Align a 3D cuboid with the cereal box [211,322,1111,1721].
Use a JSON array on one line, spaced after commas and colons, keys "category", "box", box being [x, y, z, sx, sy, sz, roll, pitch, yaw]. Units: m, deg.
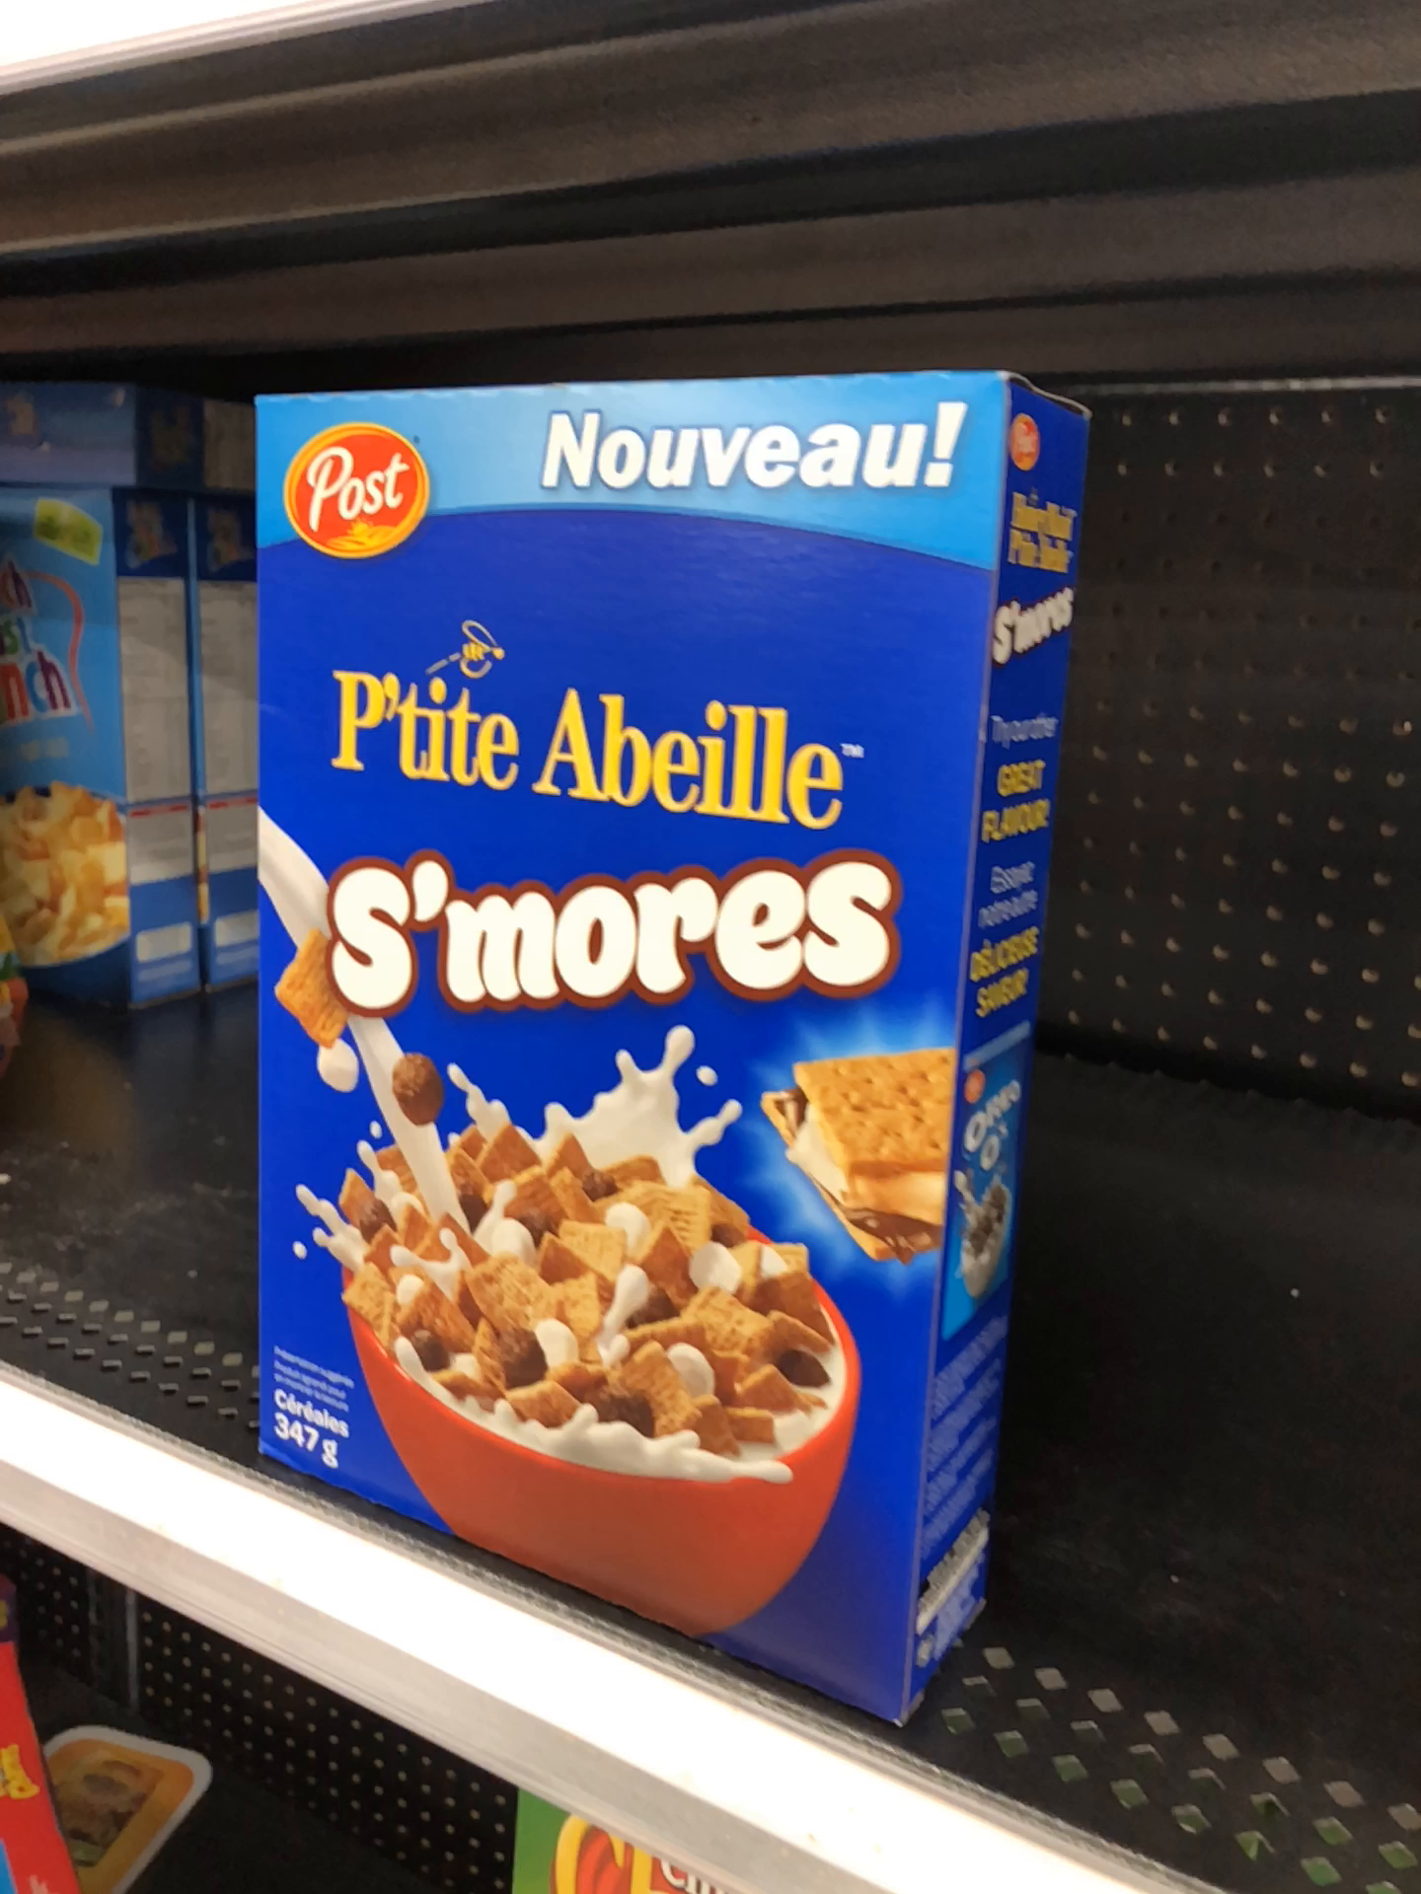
[{"category": "cereal box", "box": [-0.024, 0.007, 0.379, 0.200, 0.279, 0.060, 9, 12, 28]}]
